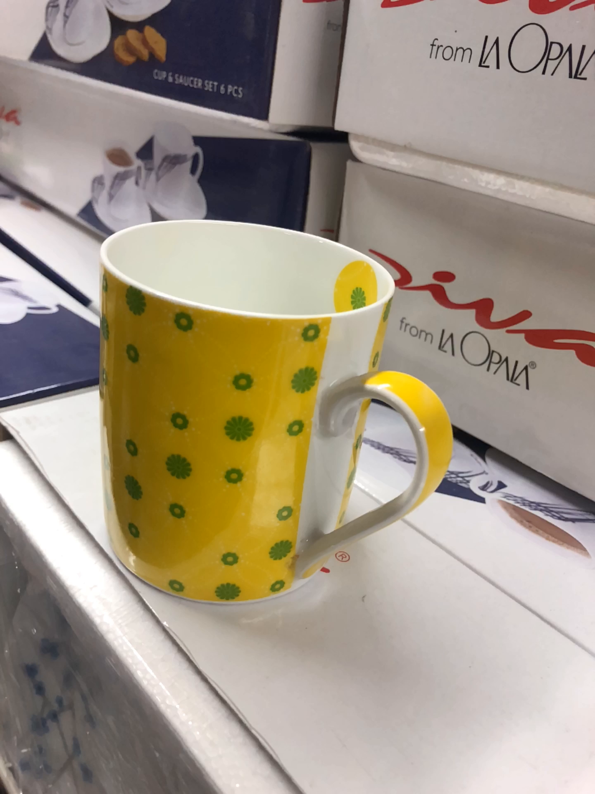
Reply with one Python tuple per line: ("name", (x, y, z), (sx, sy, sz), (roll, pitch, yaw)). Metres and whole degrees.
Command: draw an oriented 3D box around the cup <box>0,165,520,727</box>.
("cup", (-0.017, -0.002, 0.155), (0.070, 0.080, 0.090), (-20, 38, -39))
